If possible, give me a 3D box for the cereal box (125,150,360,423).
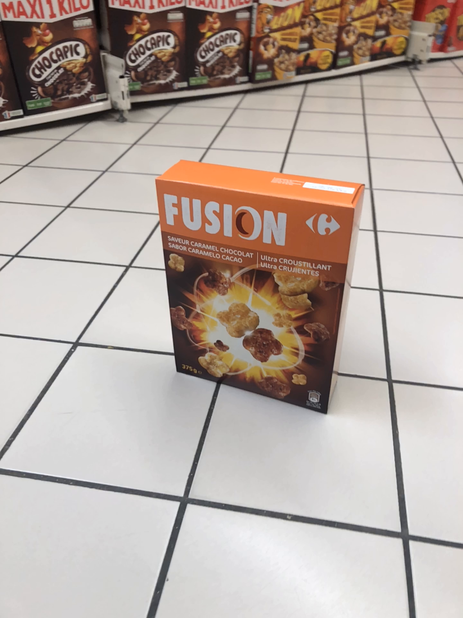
[{"bbox_3d":[0.011,-0.020,0.532,0.200,0.249,0.070,13,38,19],"label":"cereal box"}]
